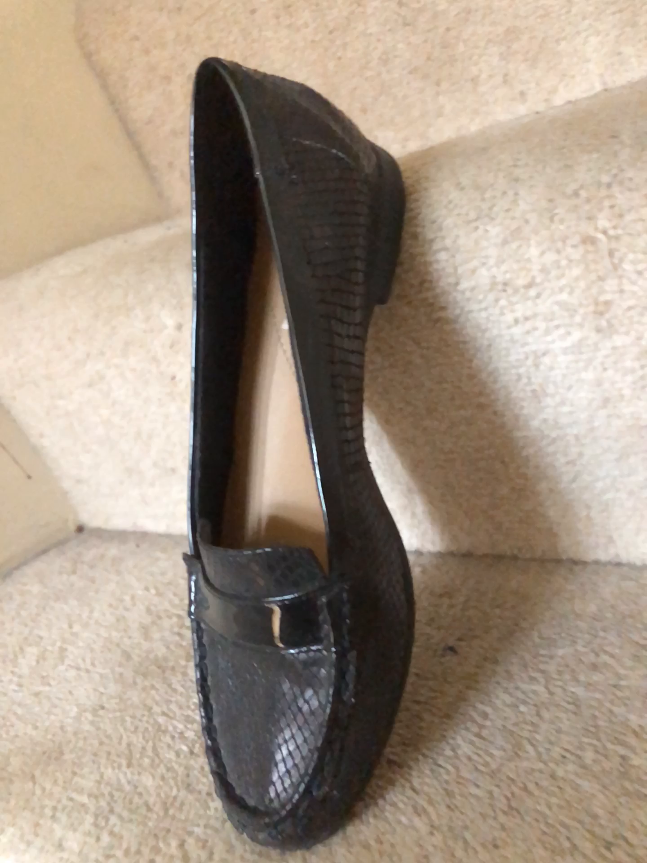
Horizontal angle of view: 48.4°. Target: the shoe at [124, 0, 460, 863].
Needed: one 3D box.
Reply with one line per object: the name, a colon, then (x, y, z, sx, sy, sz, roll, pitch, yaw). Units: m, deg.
shoe: (-0.011, 0.005, 0.255, 0.090, 0.260, 0.070, -3, -3, 33)
